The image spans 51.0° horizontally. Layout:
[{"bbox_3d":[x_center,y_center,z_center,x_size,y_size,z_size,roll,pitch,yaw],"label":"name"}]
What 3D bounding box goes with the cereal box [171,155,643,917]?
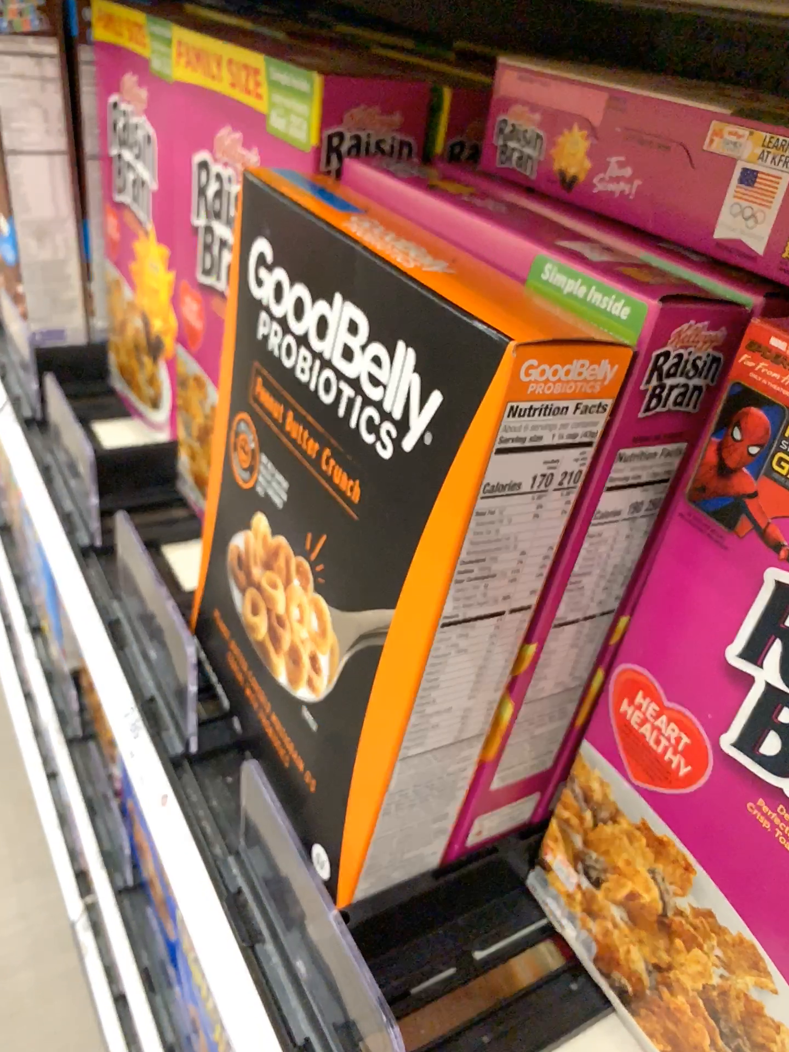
[{"bbox_3d":[-0.027,-0.002,0.357,0.050,0.249,0.201,-6,35,-34],"label":"cereal box"}]
